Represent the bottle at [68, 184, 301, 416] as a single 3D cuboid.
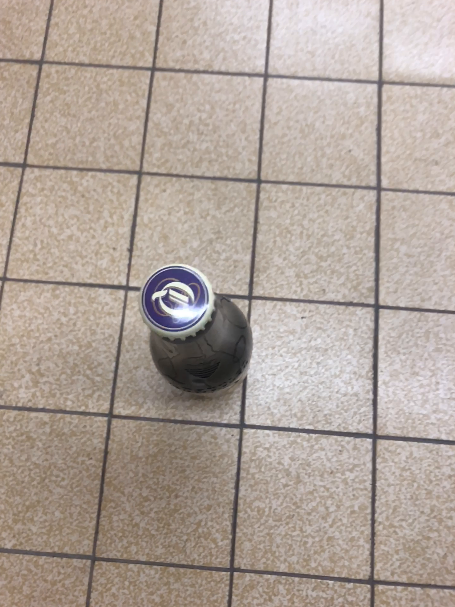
[{"bbox_3d":[-0.014,0.019,0.283,0.070,0.220,0.070,0,78,1],"label":"bottle"}]
